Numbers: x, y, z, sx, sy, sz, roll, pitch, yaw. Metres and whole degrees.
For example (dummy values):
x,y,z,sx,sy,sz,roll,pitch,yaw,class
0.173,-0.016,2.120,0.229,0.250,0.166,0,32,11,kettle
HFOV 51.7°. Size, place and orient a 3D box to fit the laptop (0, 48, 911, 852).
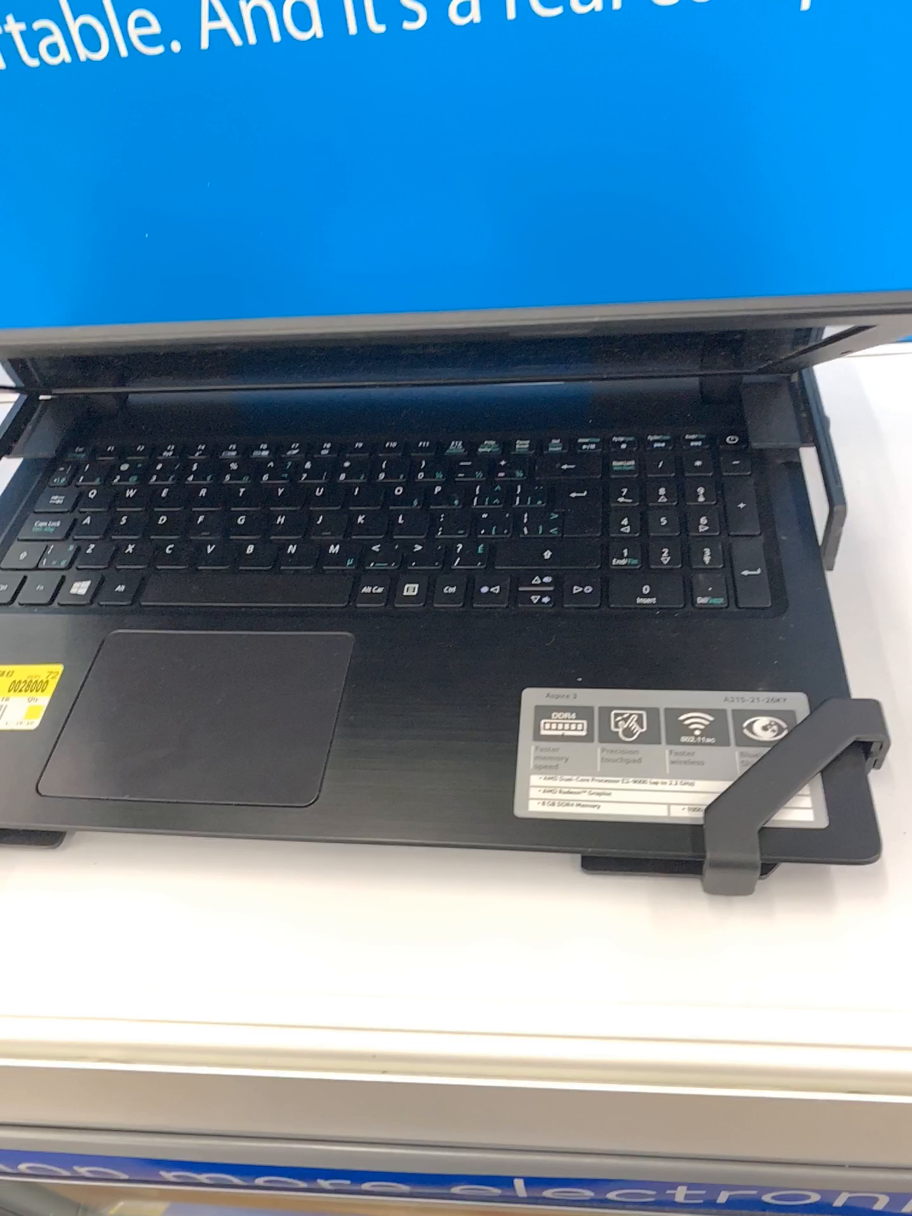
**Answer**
x,y,z,sx,sy,sz,roll,pitch,yaw,class
-0.049,-0.060,0.332,0.364,0.137,0.222,1,52,8,laptop
